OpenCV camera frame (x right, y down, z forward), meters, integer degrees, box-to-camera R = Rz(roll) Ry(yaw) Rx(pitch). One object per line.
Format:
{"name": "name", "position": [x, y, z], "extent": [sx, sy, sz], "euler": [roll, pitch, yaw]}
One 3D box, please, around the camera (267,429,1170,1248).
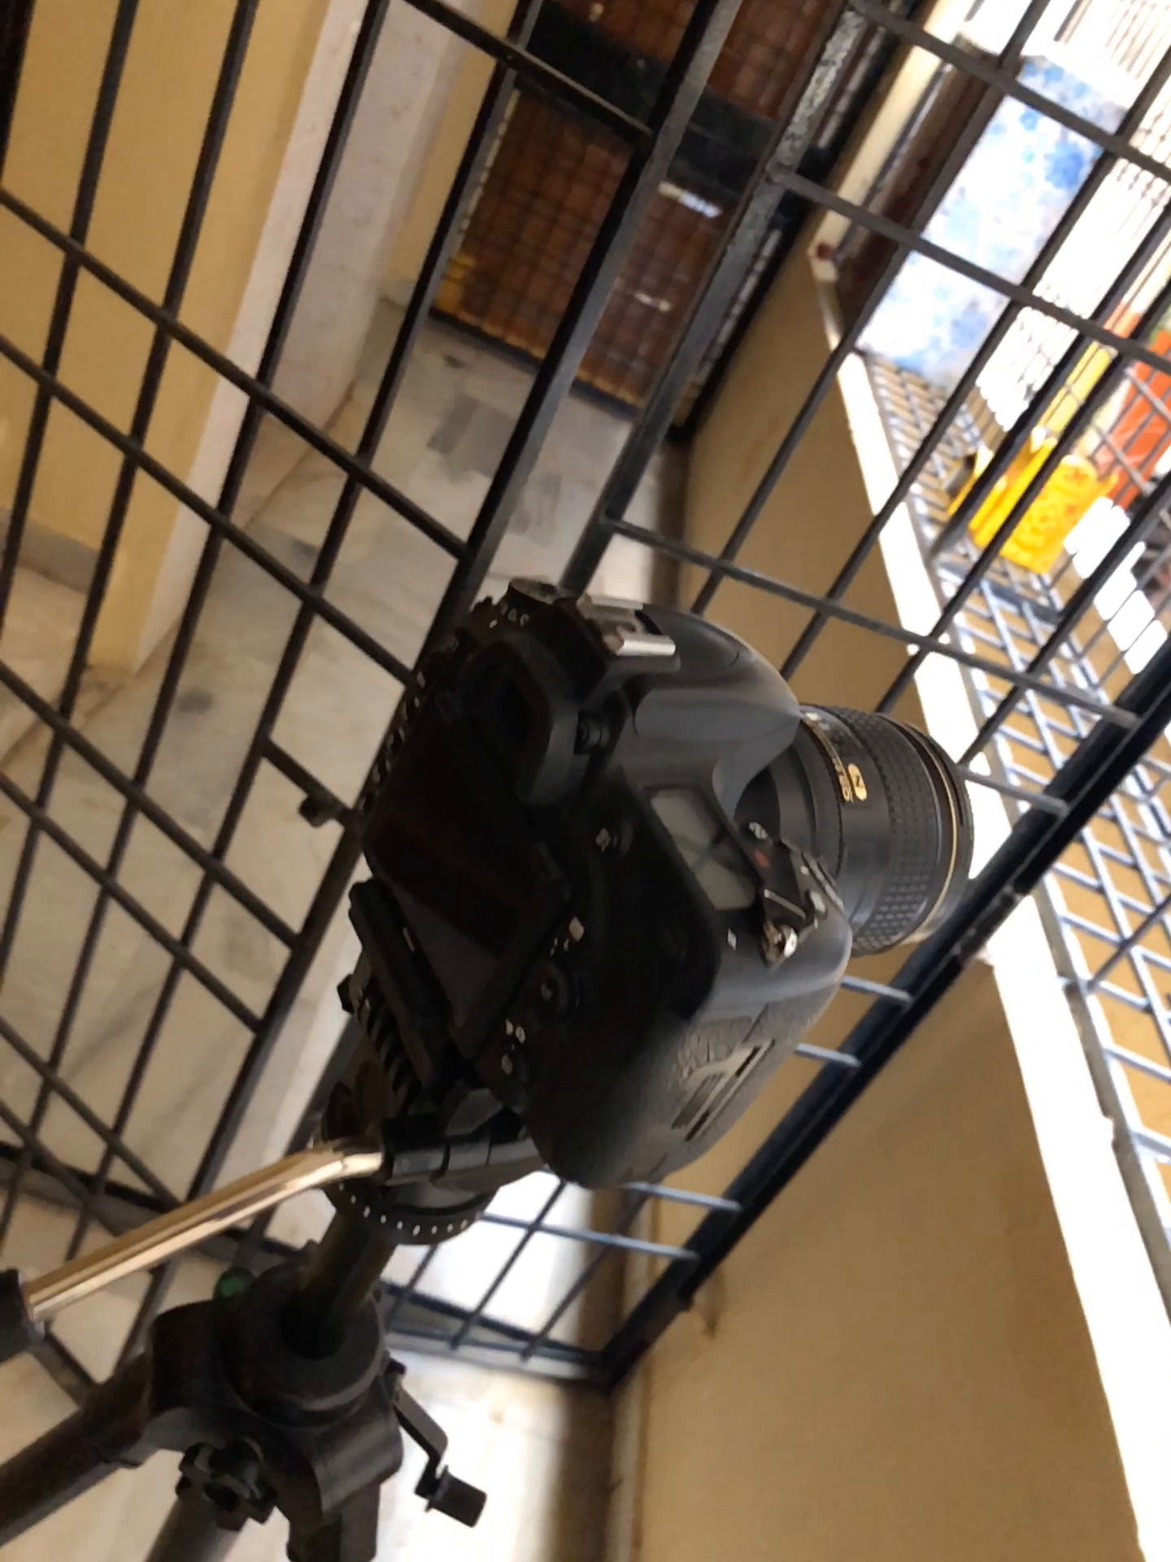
{"name": "camera", "position": [0.032, 0.007, 0.360], "extent": [0.172, 0.105, 0.171], "euler": [1, 41, -37]}
